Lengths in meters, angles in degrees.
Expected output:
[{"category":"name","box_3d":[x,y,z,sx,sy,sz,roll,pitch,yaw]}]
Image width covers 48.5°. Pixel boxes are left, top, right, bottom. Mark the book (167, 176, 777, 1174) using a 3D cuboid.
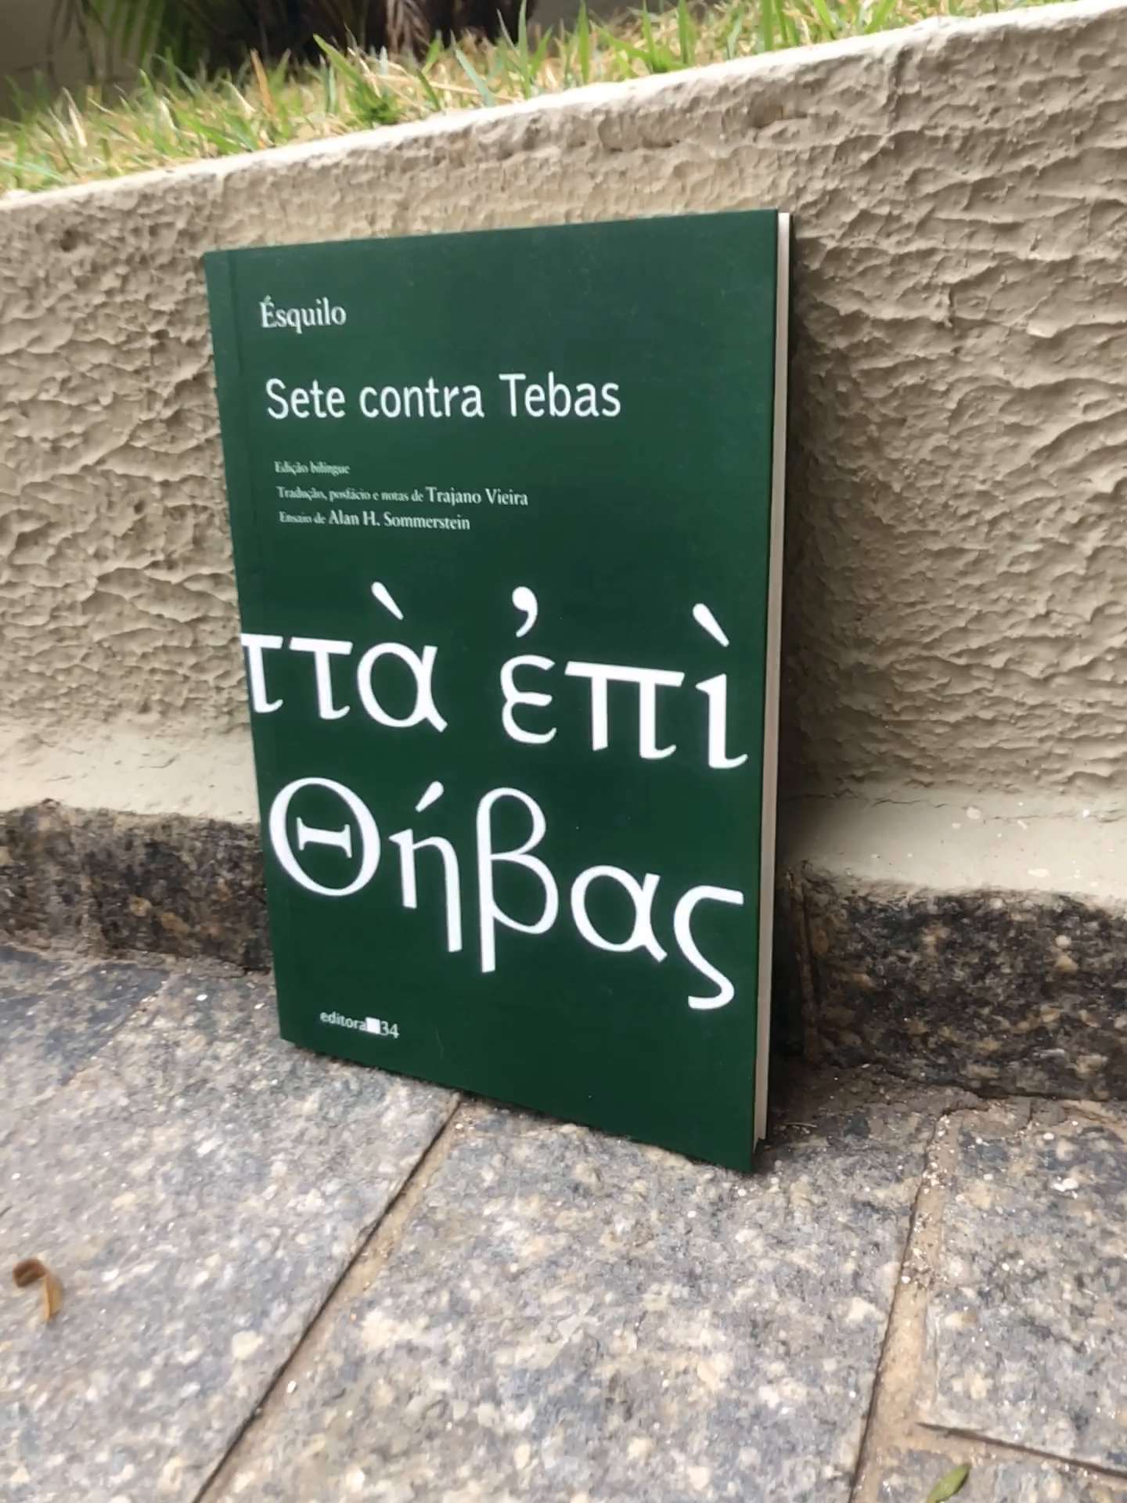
[{"category":"book","box_3d":[-0.022,-0.015,0.285,0.140,0.196,0.020,6,15,29]}]
